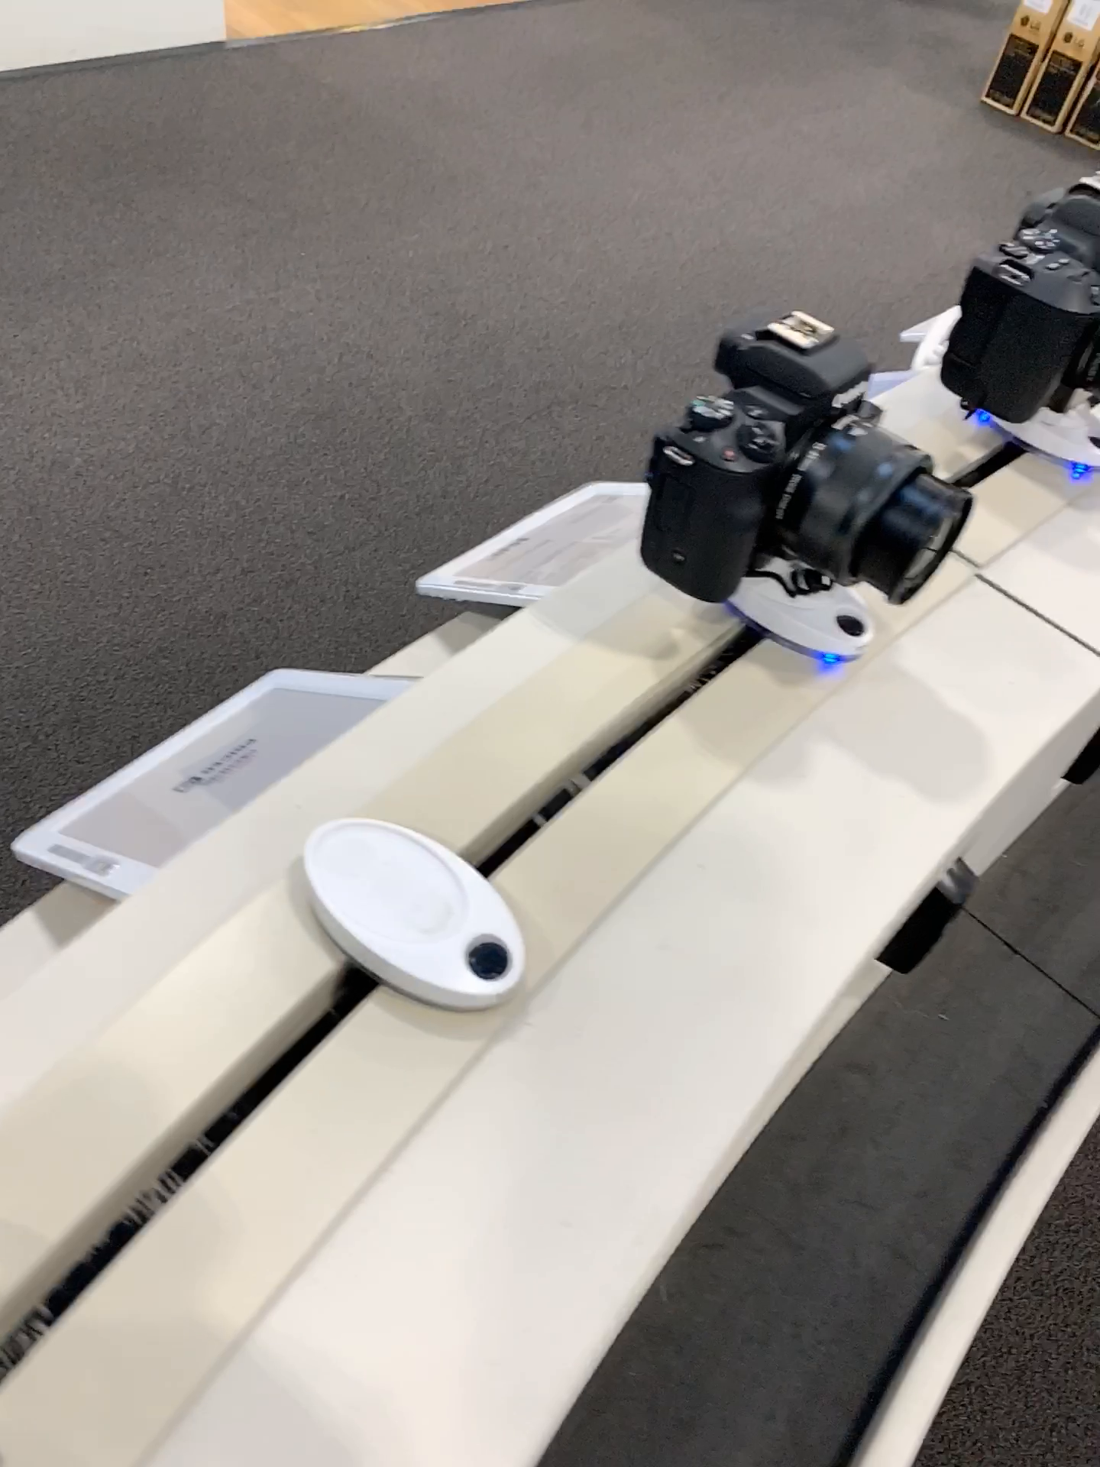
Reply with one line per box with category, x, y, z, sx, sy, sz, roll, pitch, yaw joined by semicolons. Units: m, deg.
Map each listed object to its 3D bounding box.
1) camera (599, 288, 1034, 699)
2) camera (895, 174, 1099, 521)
camera;0.105;-0.102;0.462;0.111;0.088;0.112;38;53;21
camera;0.282;-0.203;0.582;0.135;0.089;0.122;38;53;21
